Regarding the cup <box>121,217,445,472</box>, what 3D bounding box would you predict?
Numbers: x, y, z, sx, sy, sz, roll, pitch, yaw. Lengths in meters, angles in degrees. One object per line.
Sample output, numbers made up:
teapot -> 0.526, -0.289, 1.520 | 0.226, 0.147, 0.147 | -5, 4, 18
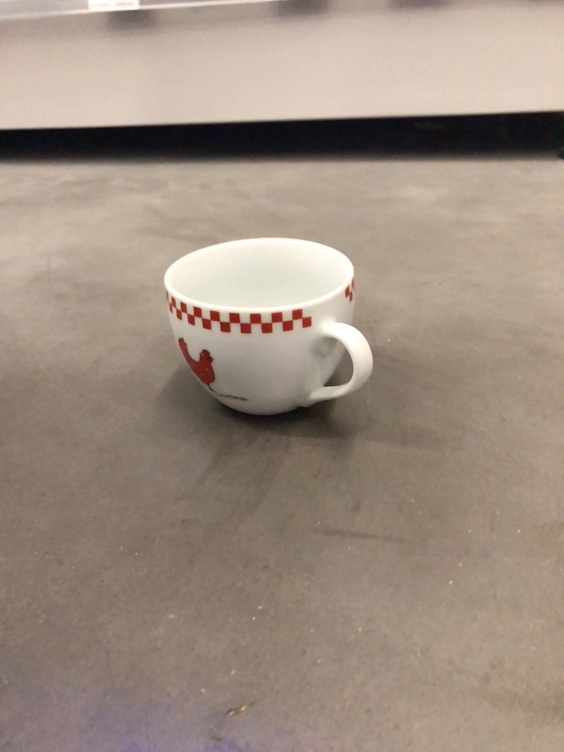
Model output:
cup -> -0.002, -0.024, 0.284 | 0.089, 0.058, 0.111 | -24, 36, -35
